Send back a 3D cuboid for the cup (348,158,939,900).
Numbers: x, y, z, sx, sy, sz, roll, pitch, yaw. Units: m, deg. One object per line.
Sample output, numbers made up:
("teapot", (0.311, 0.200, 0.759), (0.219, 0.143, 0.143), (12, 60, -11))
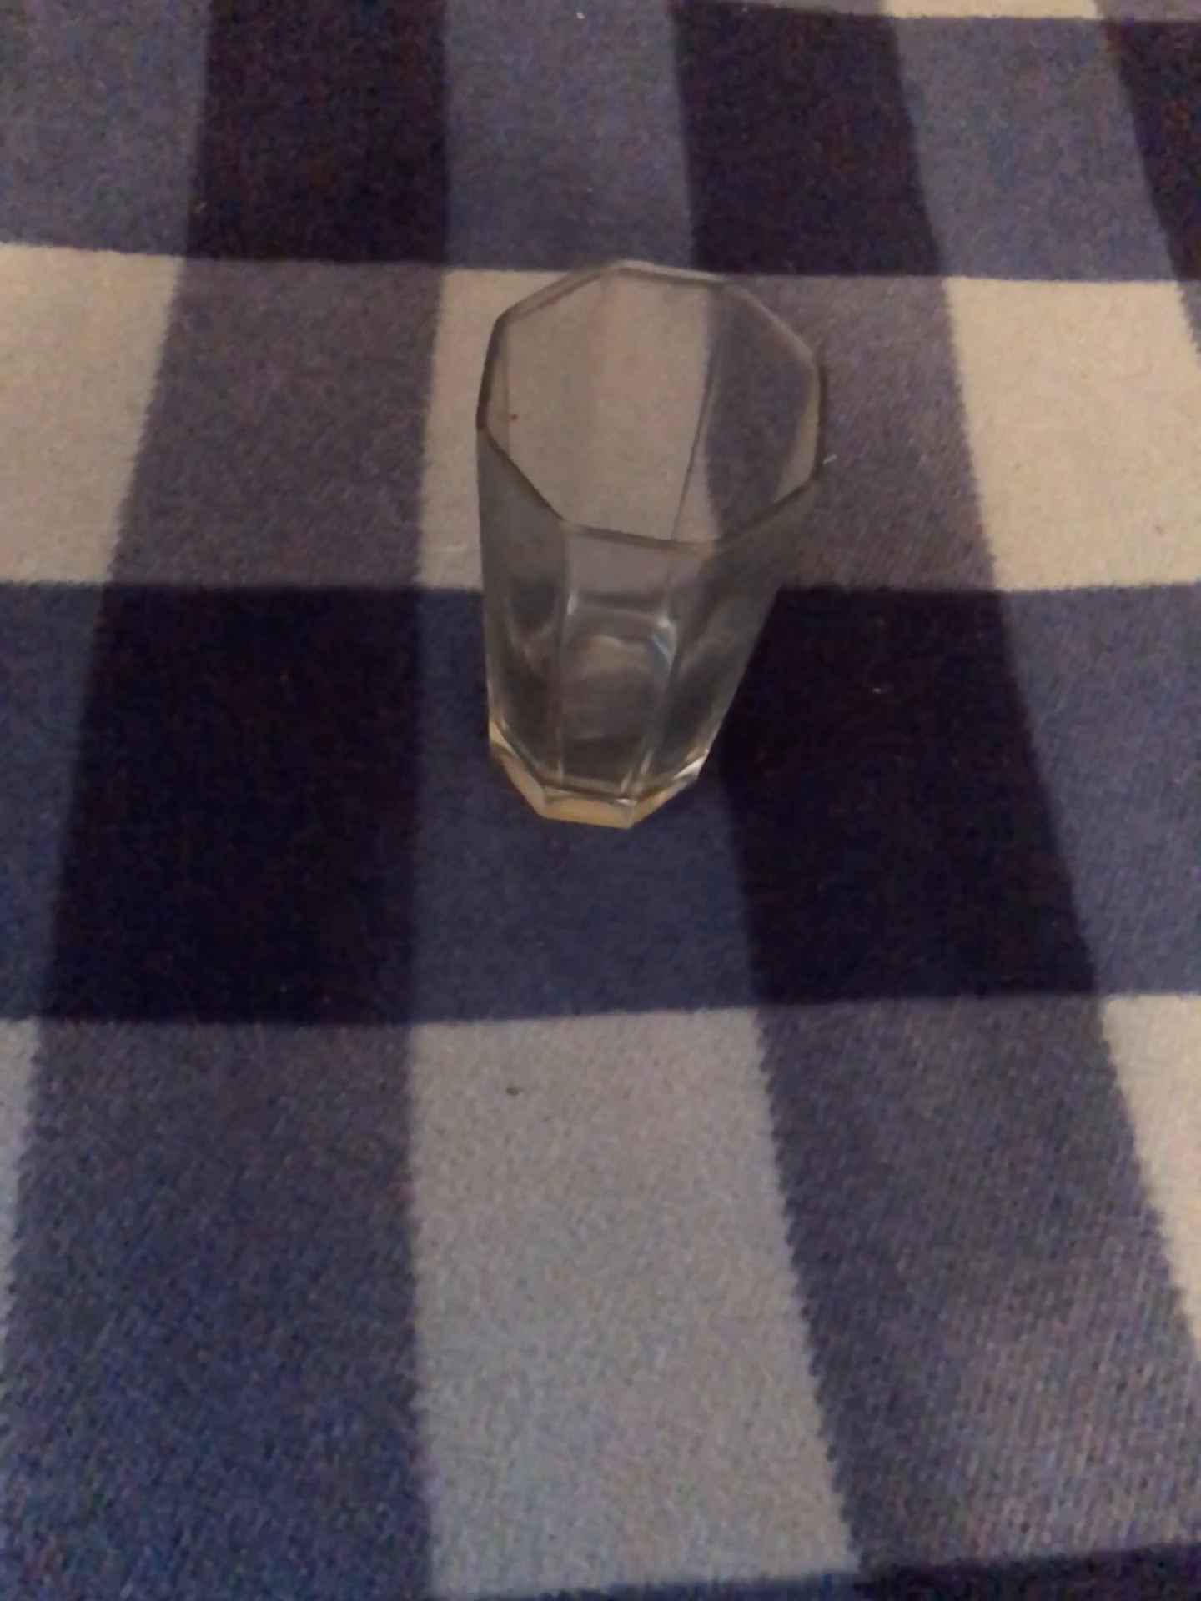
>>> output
("cup", (0.004, -0.053, 0.313), (0.082, 0.137, 0.077), (2, 65, -4))
